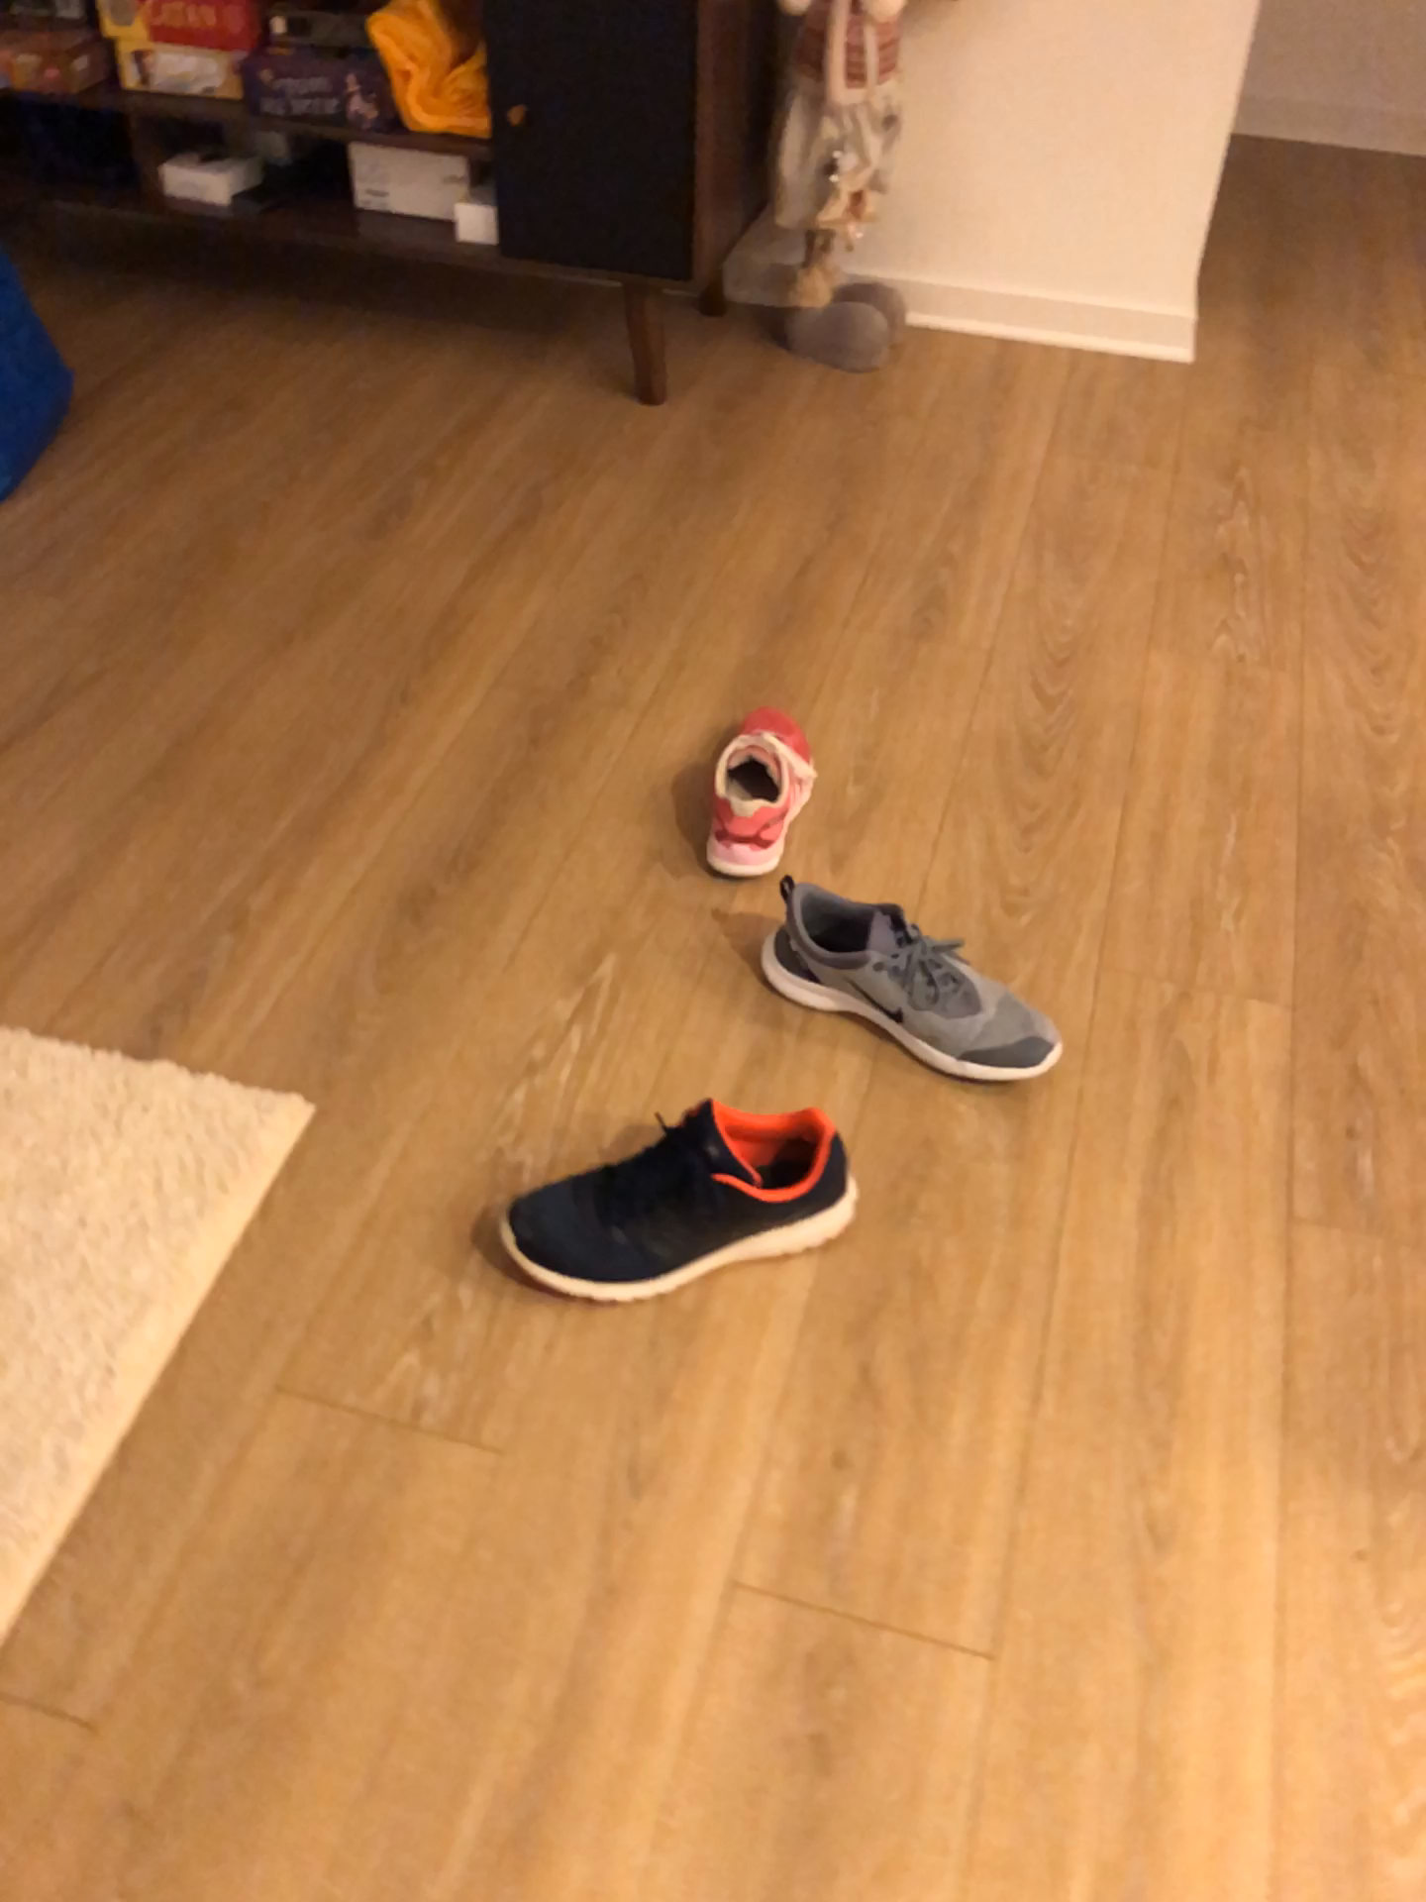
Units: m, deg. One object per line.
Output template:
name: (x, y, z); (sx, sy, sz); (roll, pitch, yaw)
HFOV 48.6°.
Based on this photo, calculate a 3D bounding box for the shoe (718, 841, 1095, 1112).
shoe: (0.177, 0.018, 1.482); (0.320, 0.080, 0.131); (23, 48, 21)

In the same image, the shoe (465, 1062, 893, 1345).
shoe: (-0.030, 0.204, 1.299); (0.320, 0.099, 0.131); (-11, 45, -13)

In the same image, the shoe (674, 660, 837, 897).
shoe: (0.049, -0.193, 1.717); (0.130, 0.089, 0.282); (8, 44, 7)
